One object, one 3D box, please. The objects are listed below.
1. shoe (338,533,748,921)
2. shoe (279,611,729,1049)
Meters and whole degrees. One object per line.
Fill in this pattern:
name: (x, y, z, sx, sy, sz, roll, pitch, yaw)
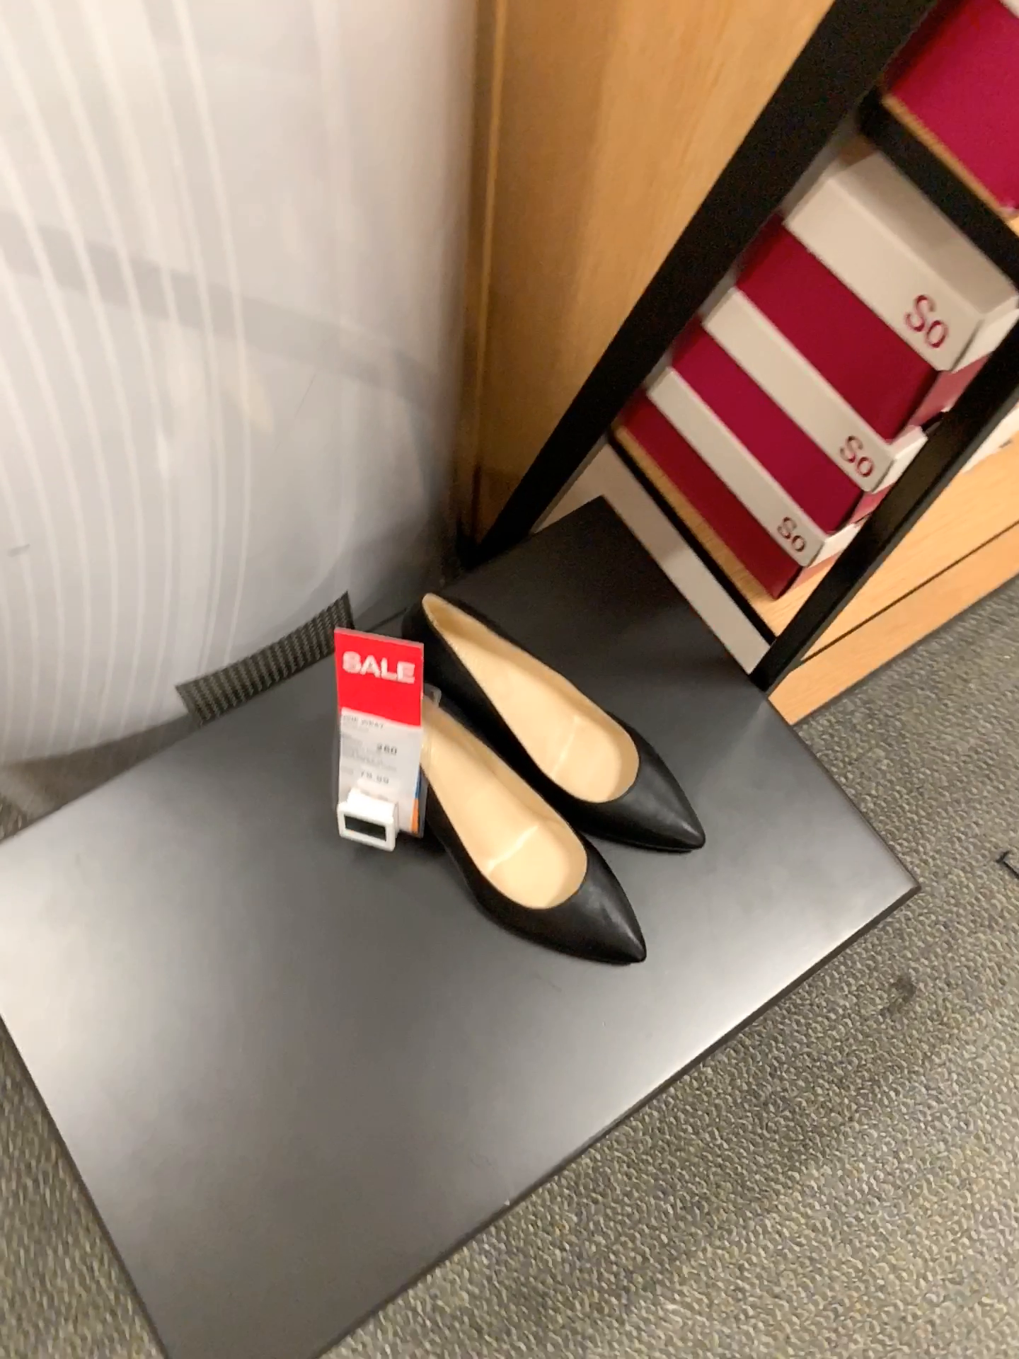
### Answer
shoe: (0.014, 0.043, 0.752, 0.250, 0.190, 0.100, 35, 70, 10)
shoe: (-0.011, 0.107, 0.674, 0.250, 0.190, 0.100, 40, 71, 12)
